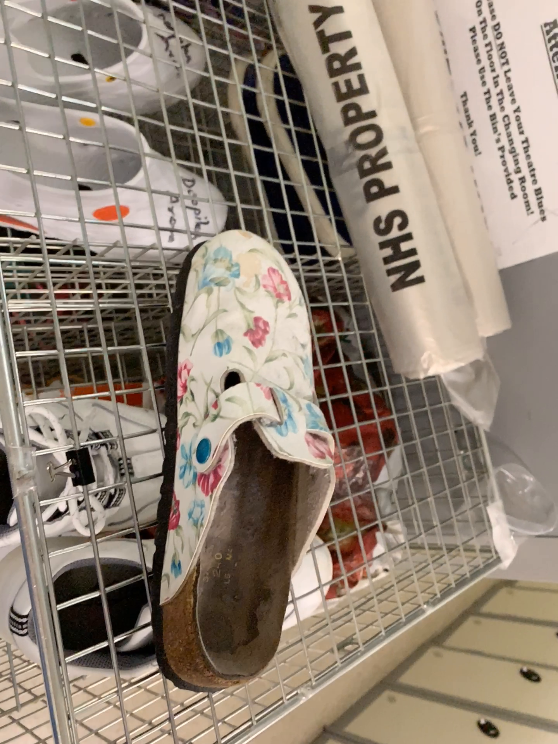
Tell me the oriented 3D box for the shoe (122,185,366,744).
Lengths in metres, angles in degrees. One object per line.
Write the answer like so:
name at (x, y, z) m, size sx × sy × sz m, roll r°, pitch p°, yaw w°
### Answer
shoe at (-0.012, 0.042, 0.326) m, size 0.101 × 0.069 × 0.259 m, roll 15°, pitch 69°, yaw -39°
